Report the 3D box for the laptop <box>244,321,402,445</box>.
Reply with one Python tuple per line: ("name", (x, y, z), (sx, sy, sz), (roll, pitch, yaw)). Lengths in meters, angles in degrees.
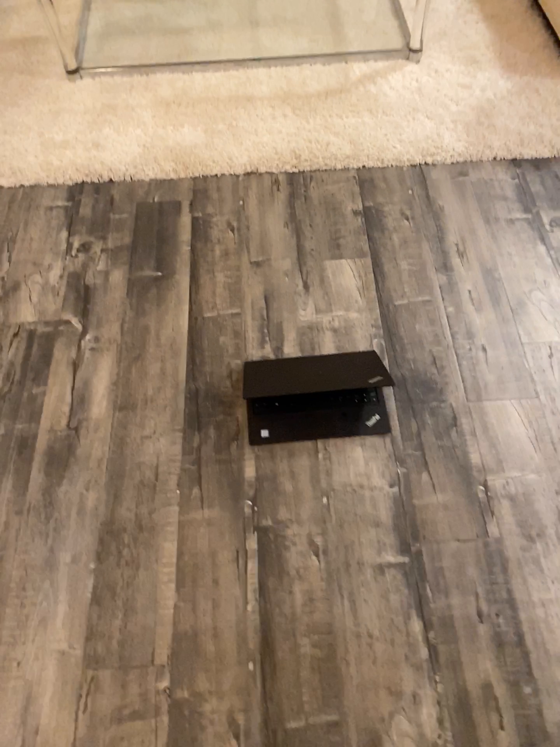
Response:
("laptop", (0.086, 0.020, 1.277), (0.314, 0.124, 0.219), (-5, 59, -1))
